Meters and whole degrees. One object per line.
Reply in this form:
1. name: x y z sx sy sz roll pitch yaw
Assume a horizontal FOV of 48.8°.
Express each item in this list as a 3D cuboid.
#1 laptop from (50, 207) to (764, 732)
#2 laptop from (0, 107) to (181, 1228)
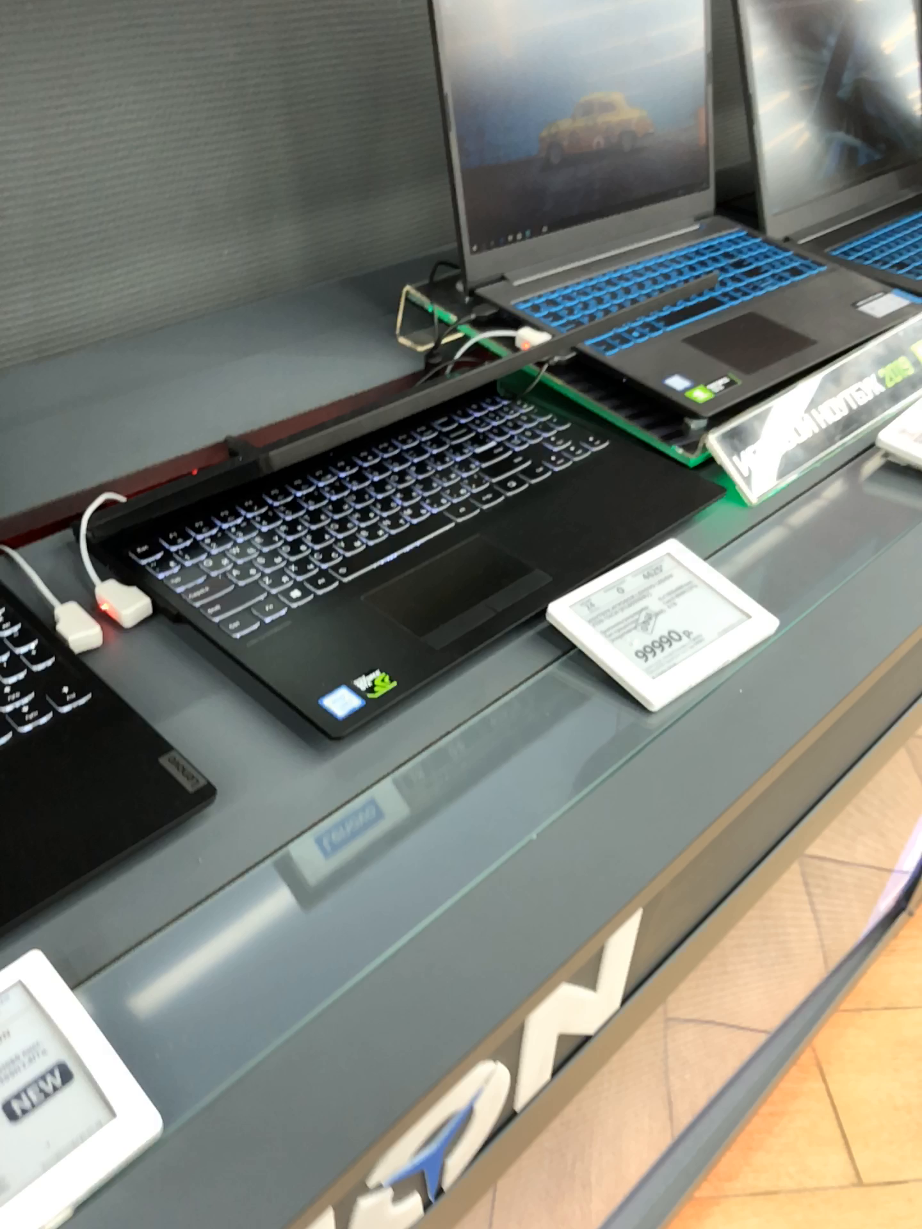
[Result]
1. laptop: -0.019 -0.121 0.630 0.354 0.136 0.228 -30 49 -35
2. laptop: -0.351 -0.003 0.384 0.365 0.231 0.308 -29 49 -34
